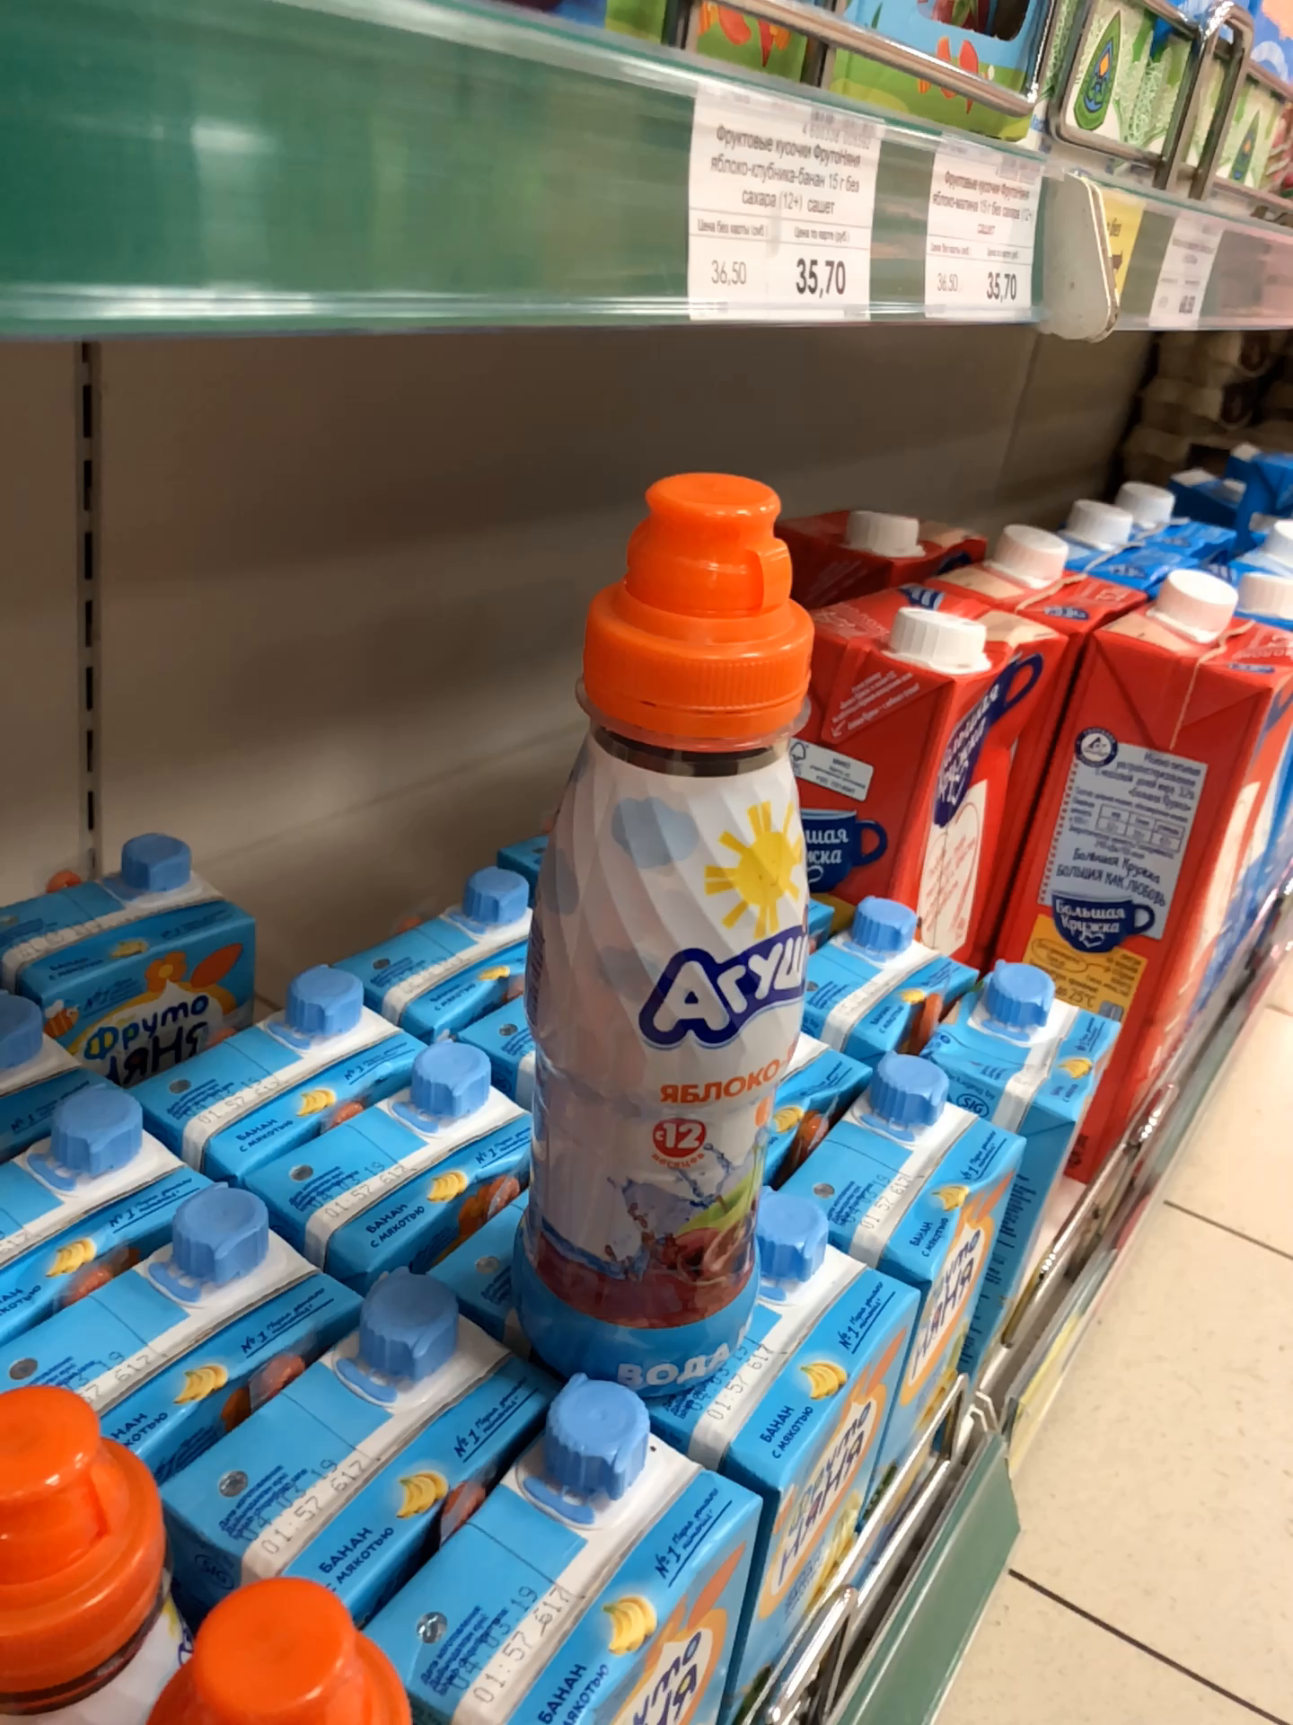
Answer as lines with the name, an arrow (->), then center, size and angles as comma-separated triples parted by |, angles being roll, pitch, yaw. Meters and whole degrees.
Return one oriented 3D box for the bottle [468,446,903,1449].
bottle -> 0.003, 0.021, 0.290 | 0.056, 0.190, 0.055 | 3, 28, -2
